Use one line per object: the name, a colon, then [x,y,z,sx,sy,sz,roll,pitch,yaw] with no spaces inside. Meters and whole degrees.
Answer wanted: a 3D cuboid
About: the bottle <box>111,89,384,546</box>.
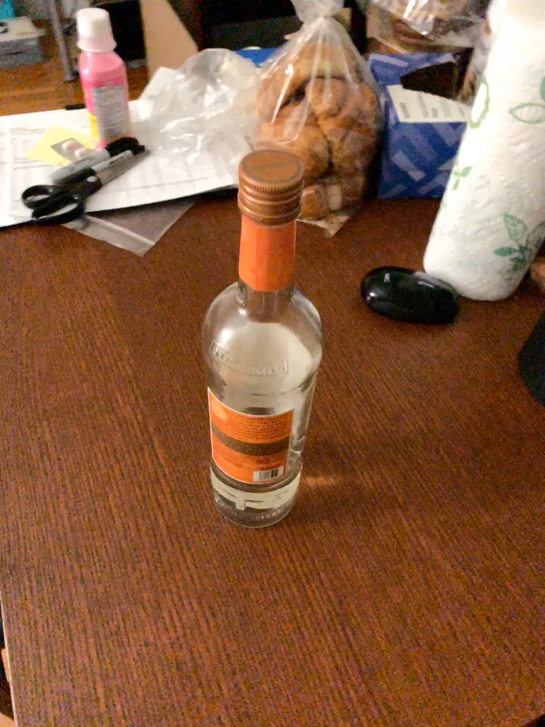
bottle: [-0.015,0.006,0.351,0.090,0.299,0.080,18,53,10]
